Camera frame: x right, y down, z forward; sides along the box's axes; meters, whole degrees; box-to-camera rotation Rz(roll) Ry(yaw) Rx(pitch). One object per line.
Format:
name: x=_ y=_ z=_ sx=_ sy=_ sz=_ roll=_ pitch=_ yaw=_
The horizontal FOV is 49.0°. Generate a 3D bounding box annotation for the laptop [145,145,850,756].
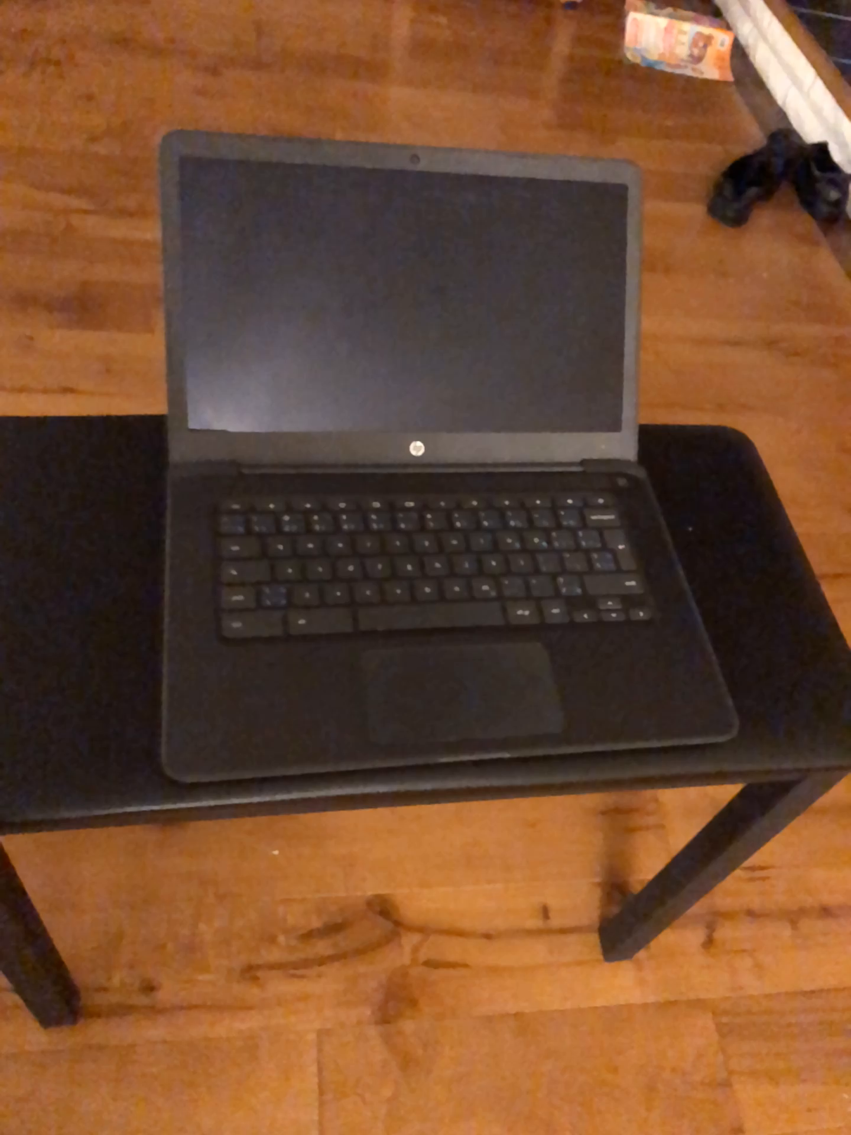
laptop: x=0.007 y=-0.091 z=0.572 sx=0.316 sy=0.143 sz=0.364 roll=-2 pitch=51 yaw=-11
